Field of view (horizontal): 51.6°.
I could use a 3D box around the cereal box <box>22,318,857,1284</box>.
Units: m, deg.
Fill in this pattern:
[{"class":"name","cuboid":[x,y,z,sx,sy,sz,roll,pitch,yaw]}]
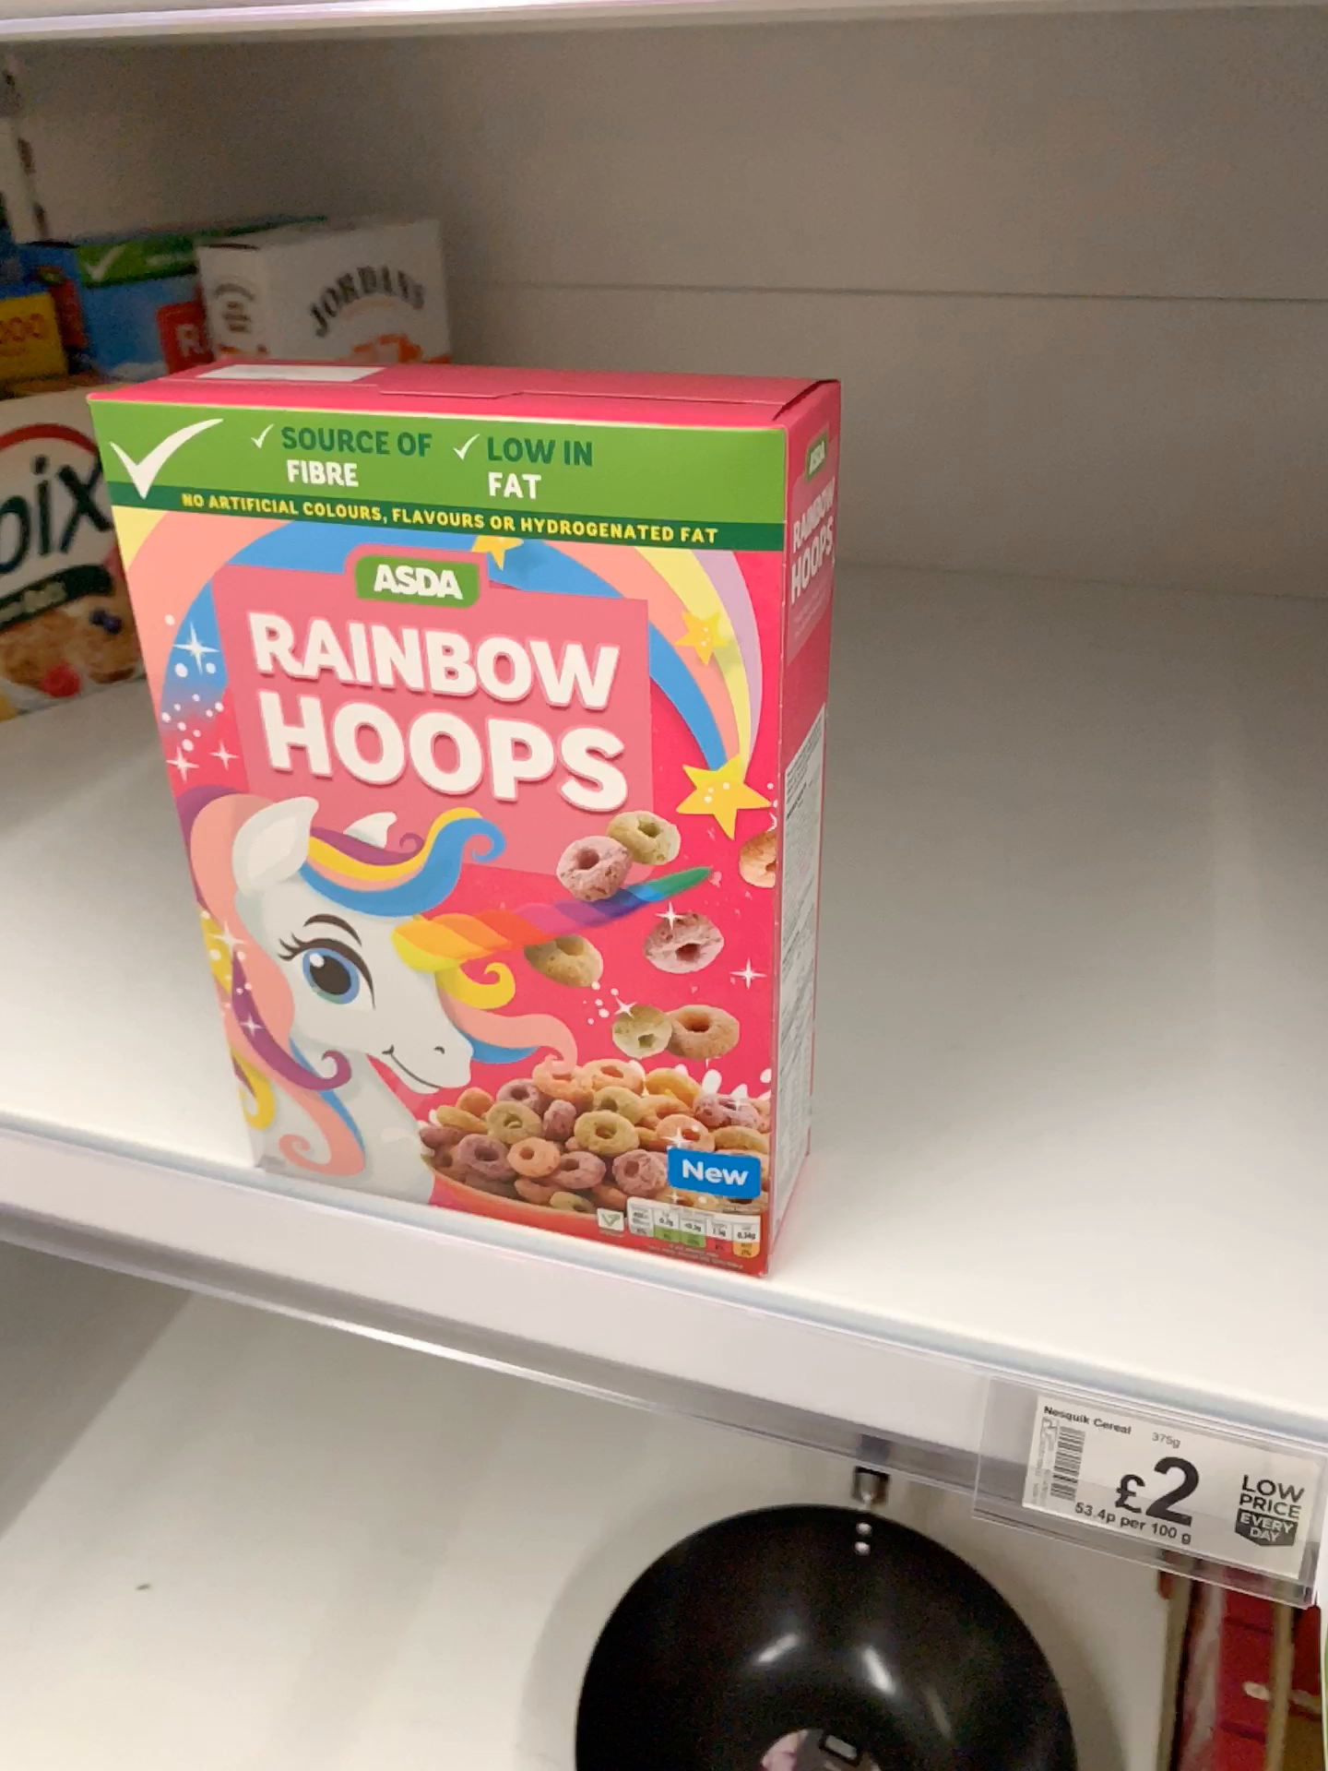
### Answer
[{"class":"cereal box","cuboid":[-0.056,-0.021,0.427,0.210,0.277,0.061,8,32,16]}]
